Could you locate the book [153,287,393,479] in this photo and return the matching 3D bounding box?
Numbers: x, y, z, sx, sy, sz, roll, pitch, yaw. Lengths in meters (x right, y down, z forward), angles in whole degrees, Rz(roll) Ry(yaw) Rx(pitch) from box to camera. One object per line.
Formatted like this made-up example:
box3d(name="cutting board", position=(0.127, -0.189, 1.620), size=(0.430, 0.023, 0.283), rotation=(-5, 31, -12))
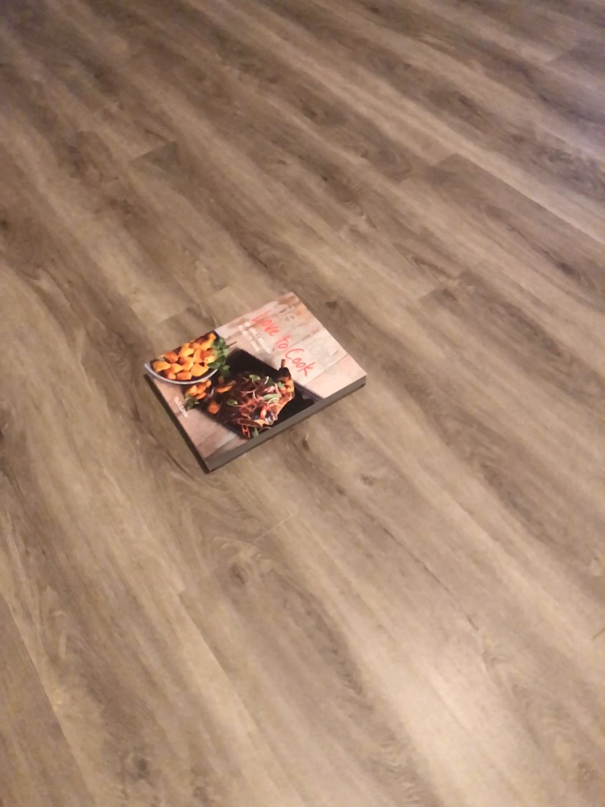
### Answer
box3d(name="book", position=(-0.047, -0.044, 1.012), size=(0.290, 0.030, 0.222), rotation=(-28, 56, -15))
